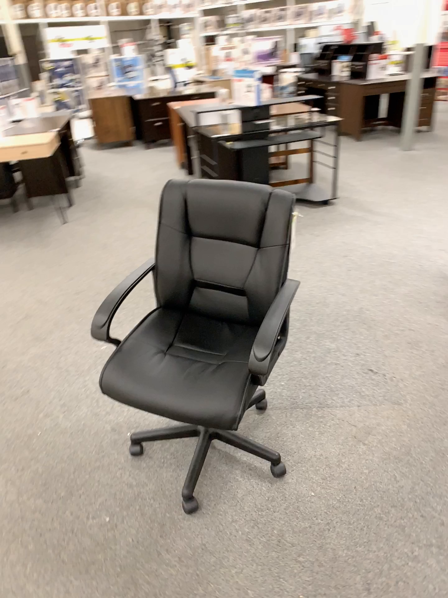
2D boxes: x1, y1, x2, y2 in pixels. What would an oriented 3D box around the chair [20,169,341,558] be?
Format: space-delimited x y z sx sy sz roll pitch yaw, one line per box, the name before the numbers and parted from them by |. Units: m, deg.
chair | -0.066 0.159 1.575 0.681 0.965 0.703 12 33 21
